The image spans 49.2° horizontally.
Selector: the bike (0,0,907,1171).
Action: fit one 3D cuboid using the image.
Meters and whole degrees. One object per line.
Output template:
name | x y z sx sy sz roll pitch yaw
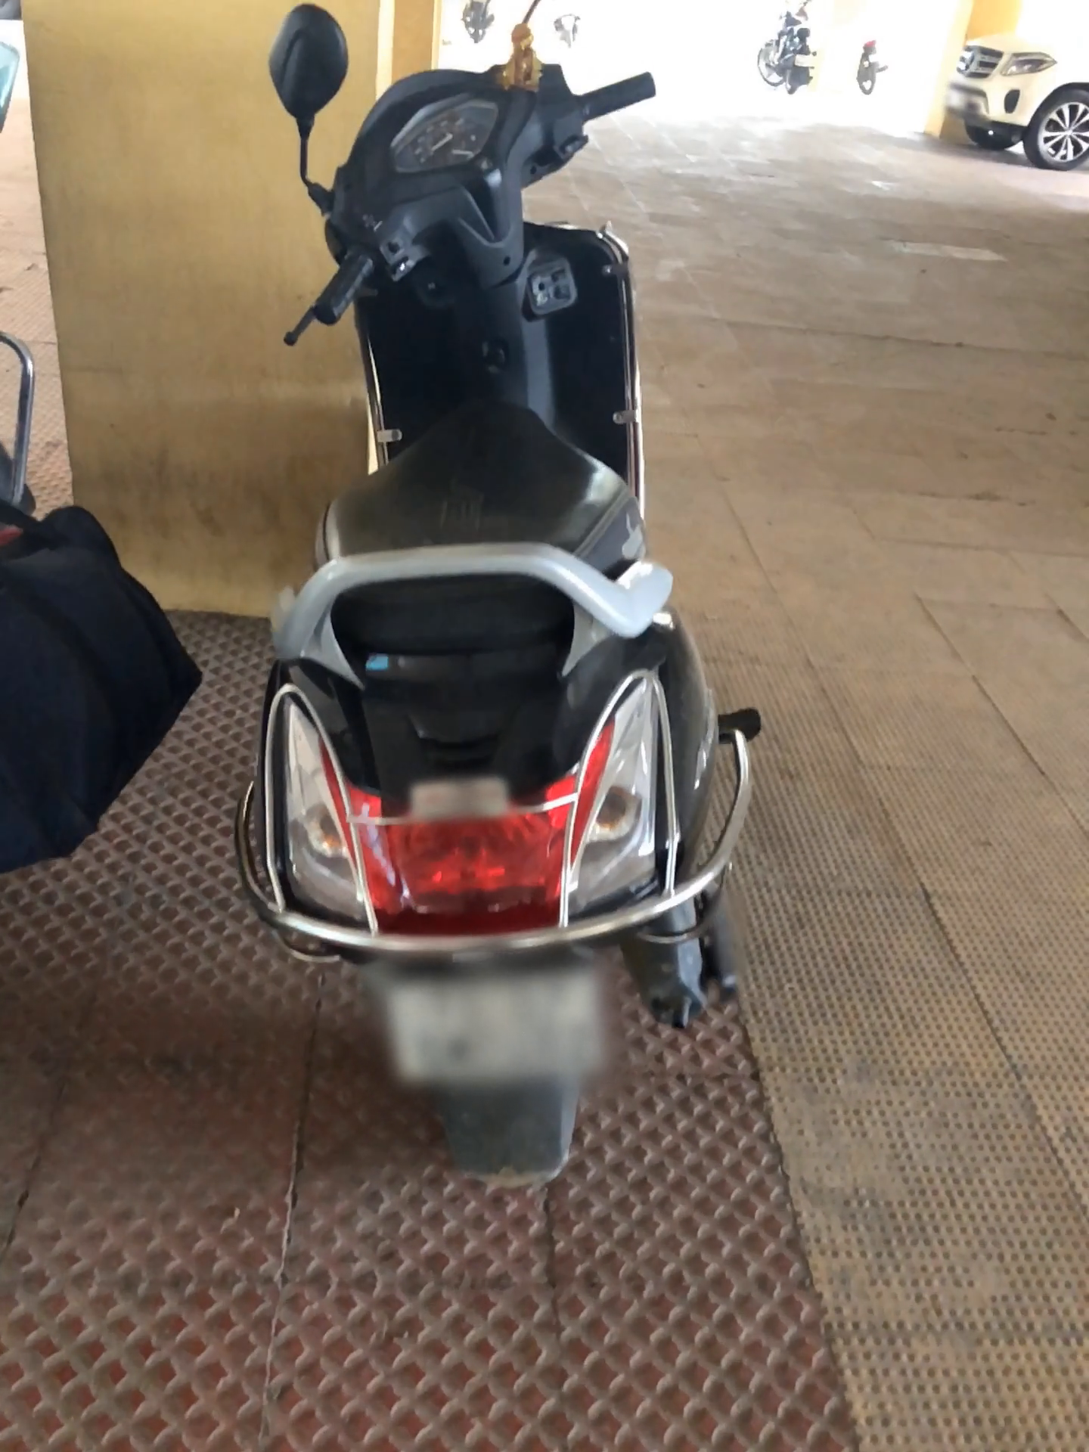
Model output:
bike | -0.241 -0.401 1.640 0.621 0.882 1.669 1 33 -10
